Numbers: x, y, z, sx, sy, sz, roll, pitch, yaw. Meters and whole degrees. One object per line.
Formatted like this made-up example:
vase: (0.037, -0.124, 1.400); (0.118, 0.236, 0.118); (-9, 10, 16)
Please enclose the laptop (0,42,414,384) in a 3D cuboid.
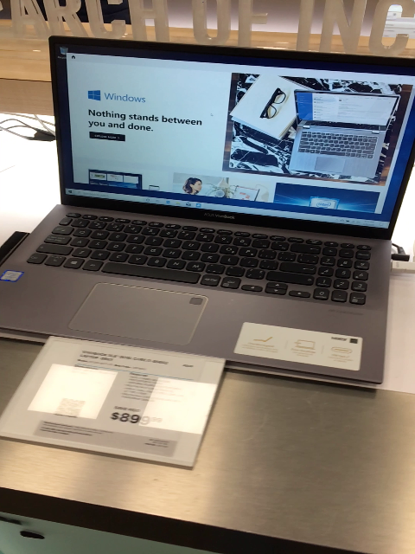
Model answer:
laptop: (-0.009, -0.064, 0.429); (0.318, 0.155, 0.215); (9, 45, 10)
